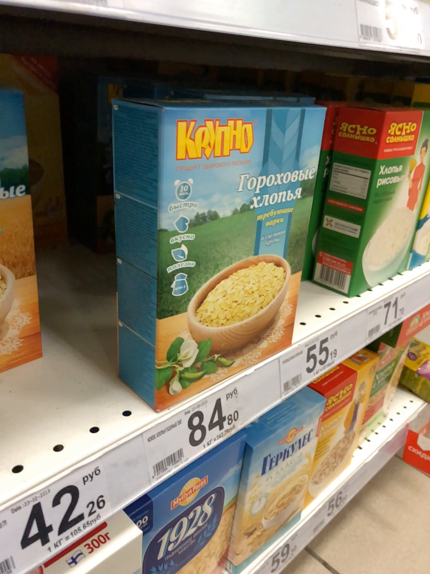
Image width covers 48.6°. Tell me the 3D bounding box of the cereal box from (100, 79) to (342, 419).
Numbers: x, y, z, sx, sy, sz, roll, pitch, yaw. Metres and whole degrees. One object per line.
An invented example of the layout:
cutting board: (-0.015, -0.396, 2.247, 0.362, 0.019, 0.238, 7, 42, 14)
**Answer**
cereal box: (0.006, -0.033, 0.336, 0.160, 0.199, 0.050, -18, 32, -40)
